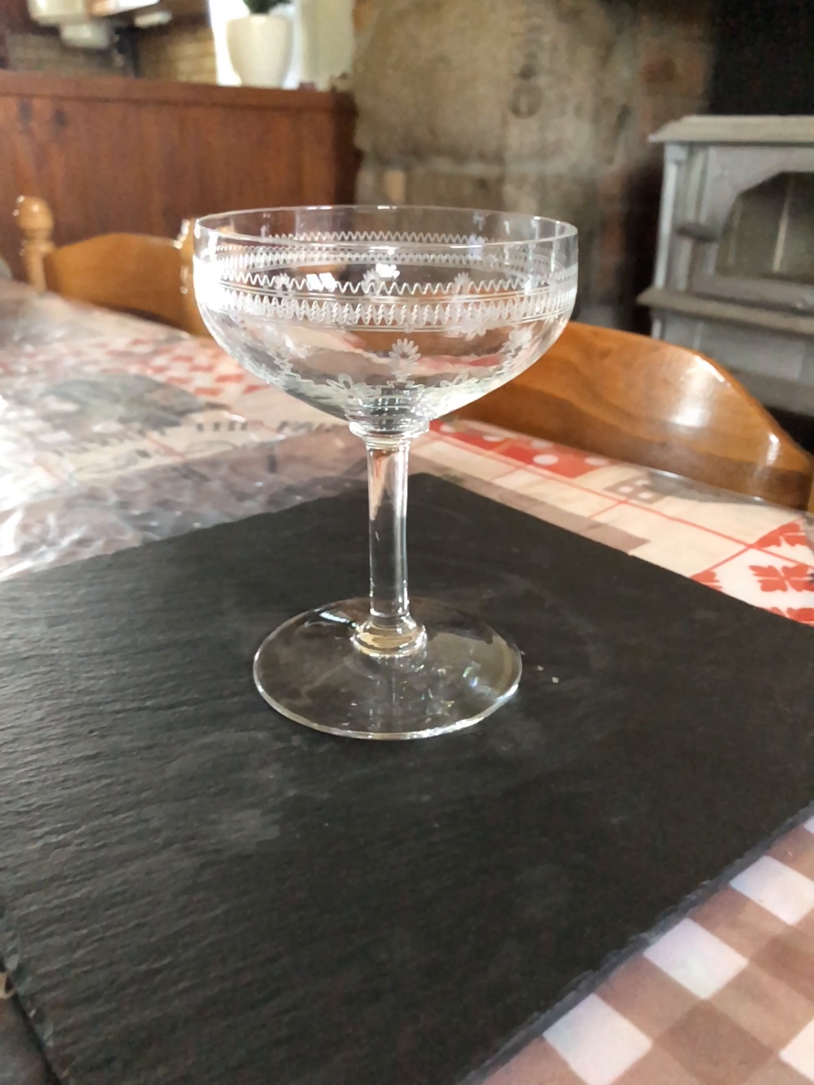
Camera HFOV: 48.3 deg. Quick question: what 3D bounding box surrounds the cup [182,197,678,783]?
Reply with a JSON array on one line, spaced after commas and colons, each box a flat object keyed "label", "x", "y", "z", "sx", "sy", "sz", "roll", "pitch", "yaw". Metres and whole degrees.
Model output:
[{"label": "cup", "x": -0.002, "y": -0.023, "z": 0.234, "sx": 0.090, "sy": 0.119, "sz": 0.090, "roll": 1, "pitch": 23, "yaw": 0}]
